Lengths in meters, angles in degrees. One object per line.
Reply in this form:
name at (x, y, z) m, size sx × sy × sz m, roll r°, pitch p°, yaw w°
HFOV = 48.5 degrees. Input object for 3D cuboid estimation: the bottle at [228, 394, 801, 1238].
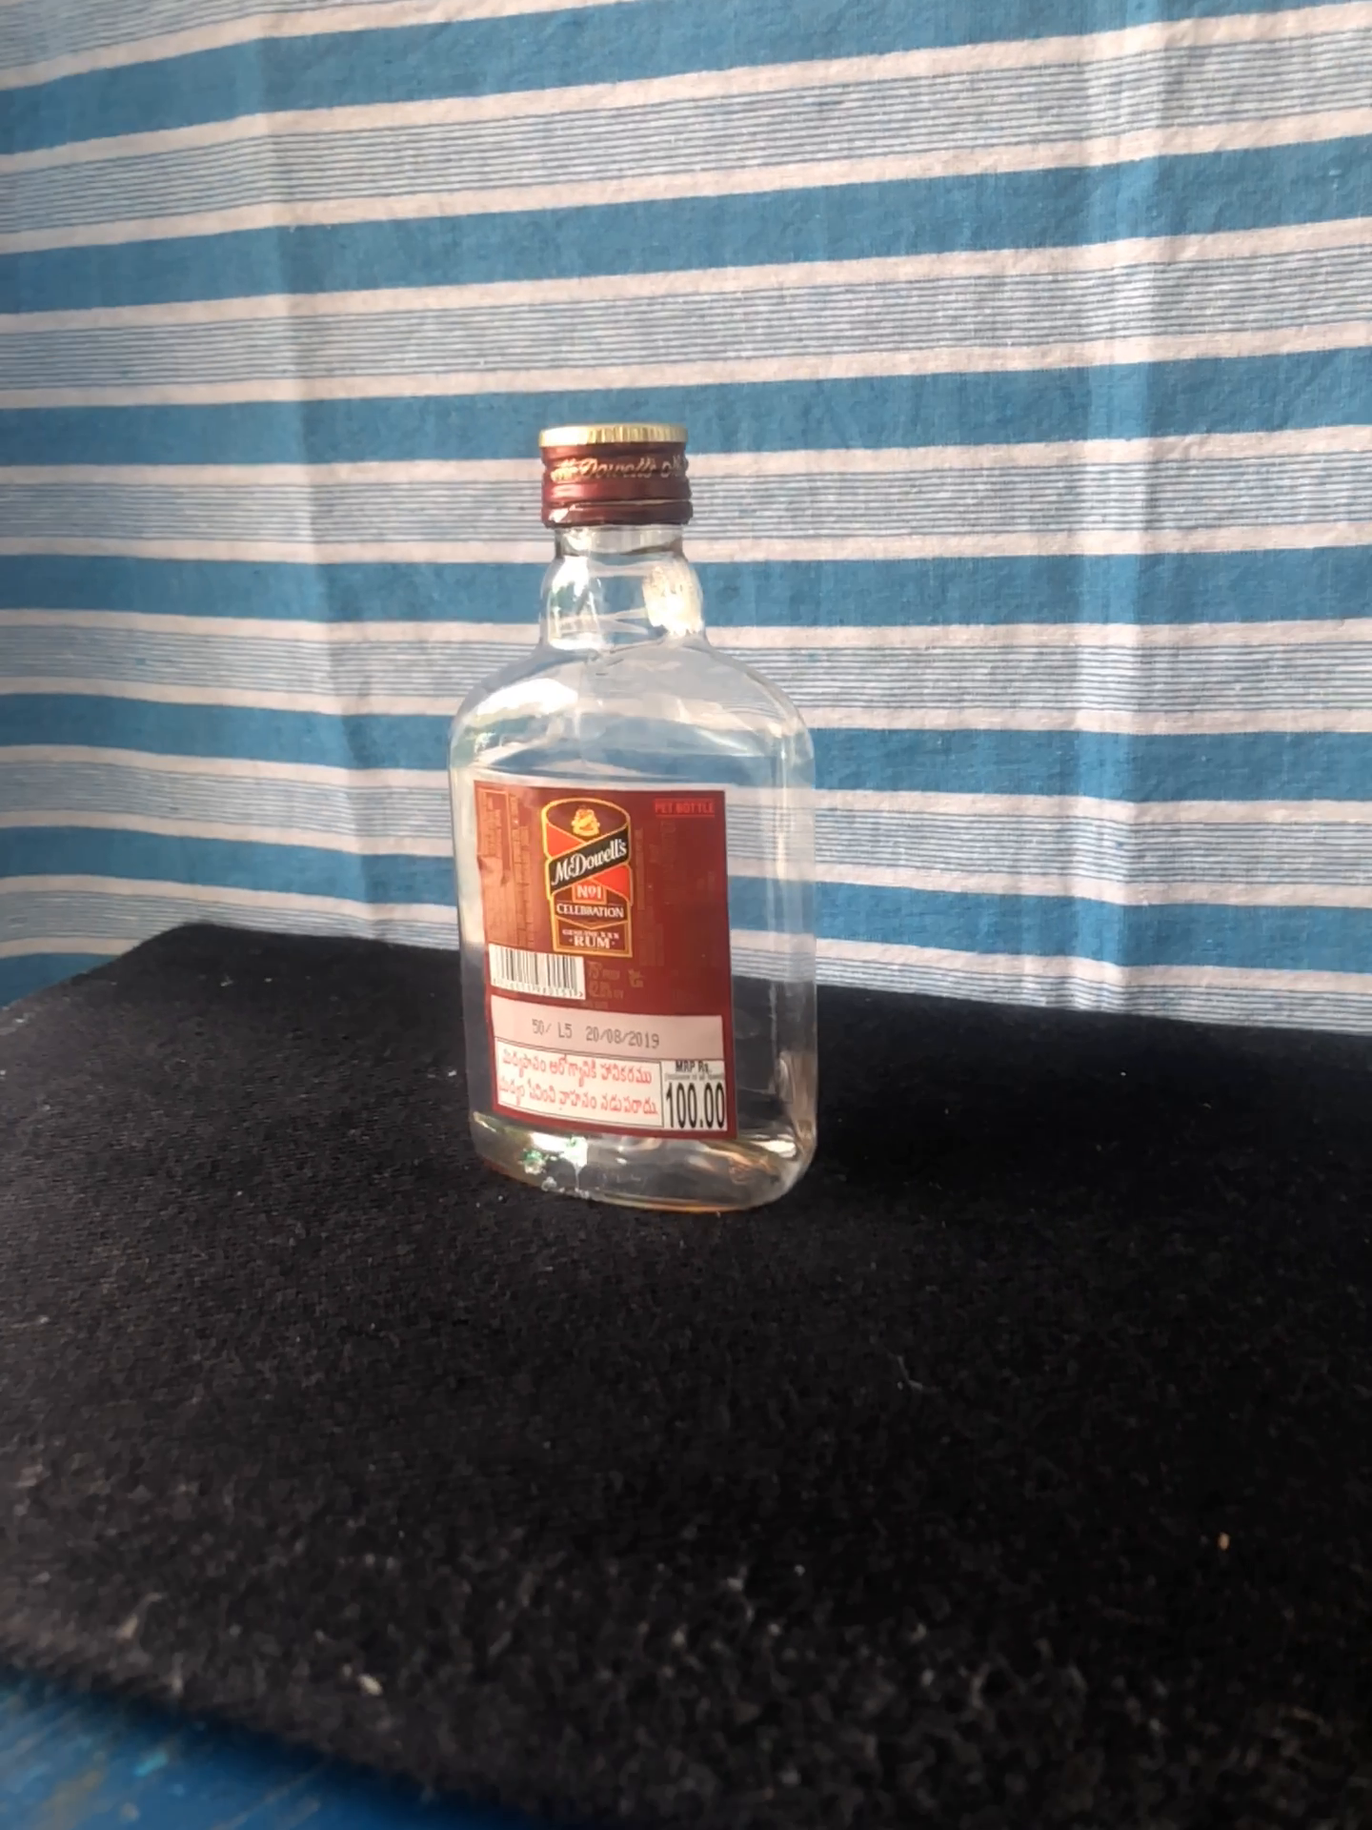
bottle at (-0.026, -0.019, 0.258) m, size 0.080 × 0.130 × 0.040 m, roll 6°, pitch 19°, yaw 20°
